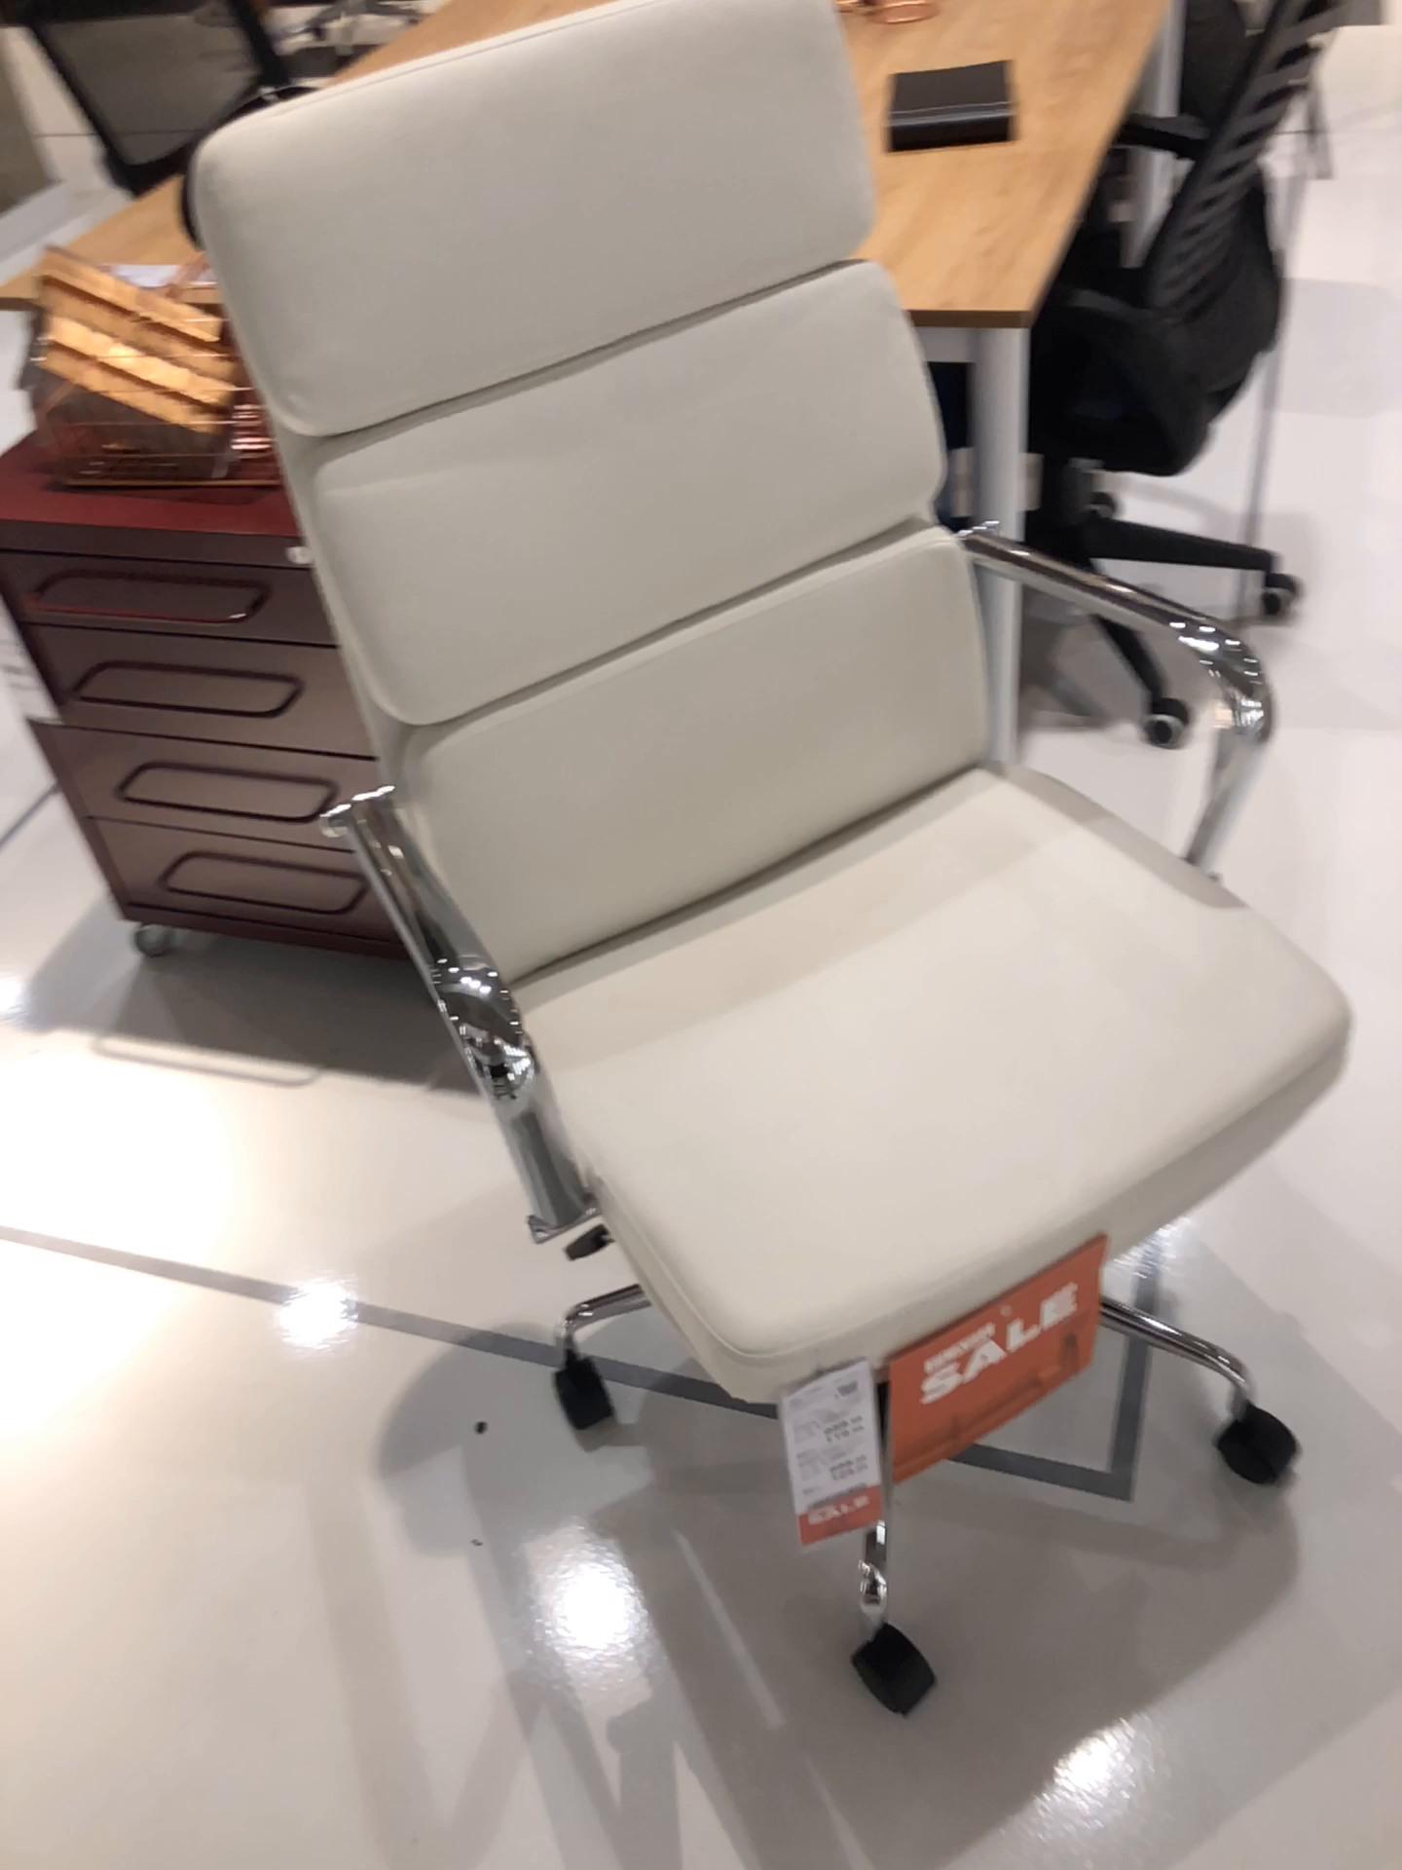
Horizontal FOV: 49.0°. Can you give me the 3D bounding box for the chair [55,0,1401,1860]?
[{"bbox_3d":[0.147,-0.032,1.070,0.661,1.012,0.654,-26,45,-17],"label":"chair"}]
